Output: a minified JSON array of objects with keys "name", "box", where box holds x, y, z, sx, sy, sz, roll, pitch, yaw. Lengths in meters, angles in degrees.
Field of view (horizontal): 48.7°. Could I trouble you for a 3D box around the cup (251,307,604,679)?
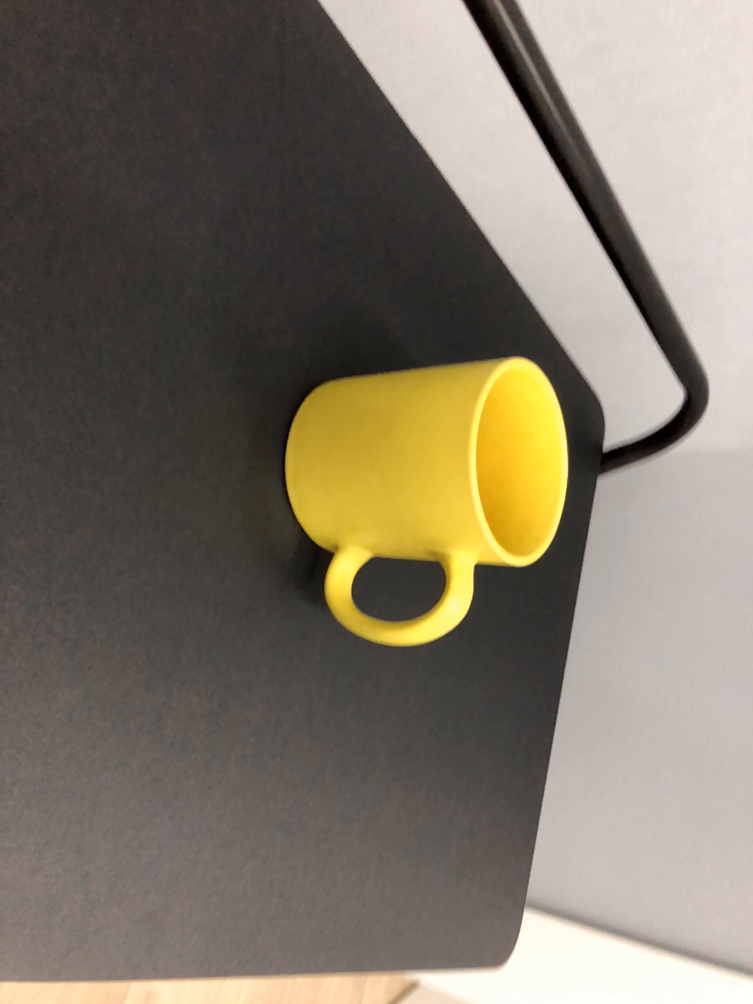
[{"name":"cup","box":[0.026,0.001,0.353,0.090,0.101,0.125,24,71,-51]}]
